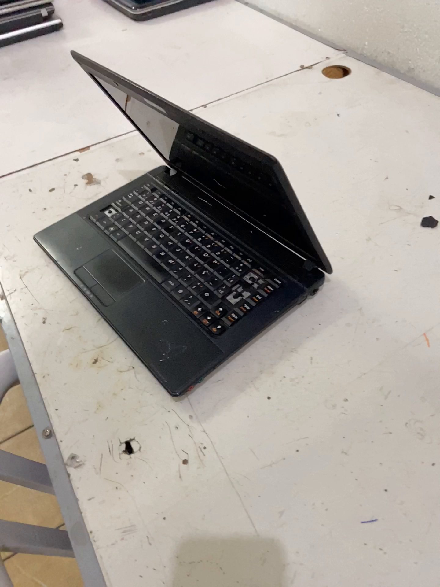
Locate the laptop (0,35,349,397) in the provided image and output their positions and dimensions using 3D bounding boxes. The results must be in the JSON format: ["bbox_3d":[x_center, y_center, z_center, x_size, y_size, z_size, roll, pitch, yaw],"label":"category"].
[{"bbox_3d":[-0.076,-0.109,0.505,0.223,0.194,0.334,-35,54,-21],"label":"laptop"}]
